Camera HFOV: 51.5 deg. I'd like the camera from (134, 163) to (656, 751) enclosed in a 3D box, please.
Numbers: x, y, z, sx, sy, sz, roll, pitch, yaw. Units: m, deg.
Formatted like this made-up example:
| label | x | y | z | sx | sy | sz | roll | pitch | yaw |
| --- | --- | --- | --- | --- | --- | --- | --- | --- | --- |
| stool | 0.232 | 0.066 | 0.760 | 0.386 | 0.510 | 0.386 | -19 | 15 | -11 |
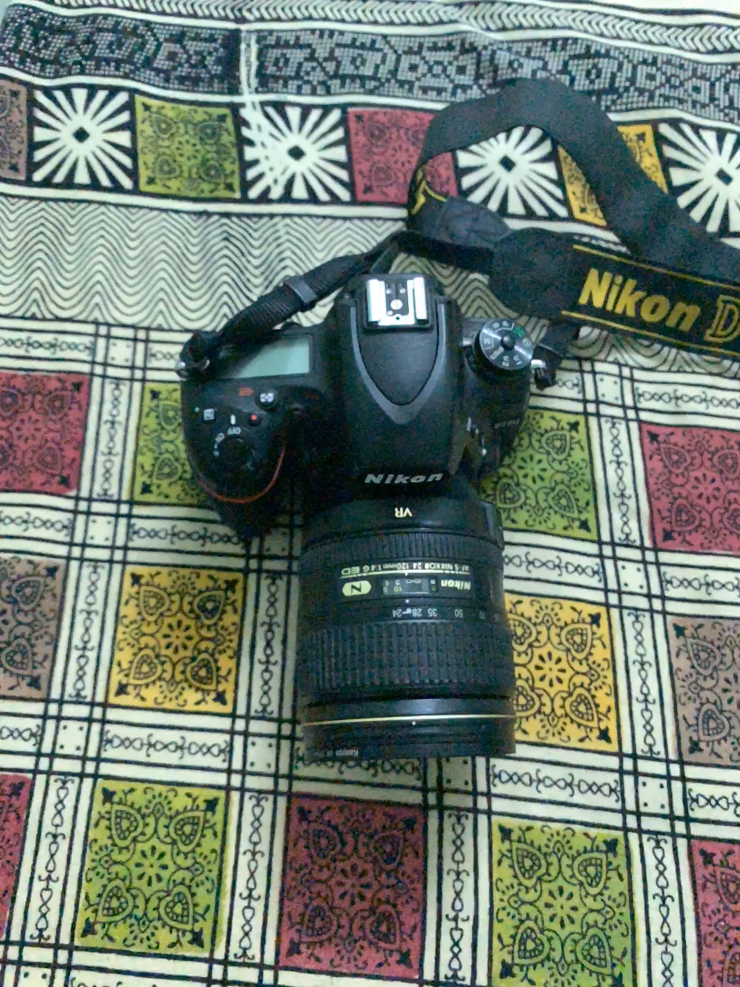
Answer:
| label | x | y | z | sx | sy | sz | roll | pitch | yaw |
| --- | --- | --- | --- | --- | --- | --- | --- | --- | --- |
| camera | 0.004 | -0.008 | 0.285 | 0.140 | 0.100 | 0.190 | -2 | 70 | -1 |
